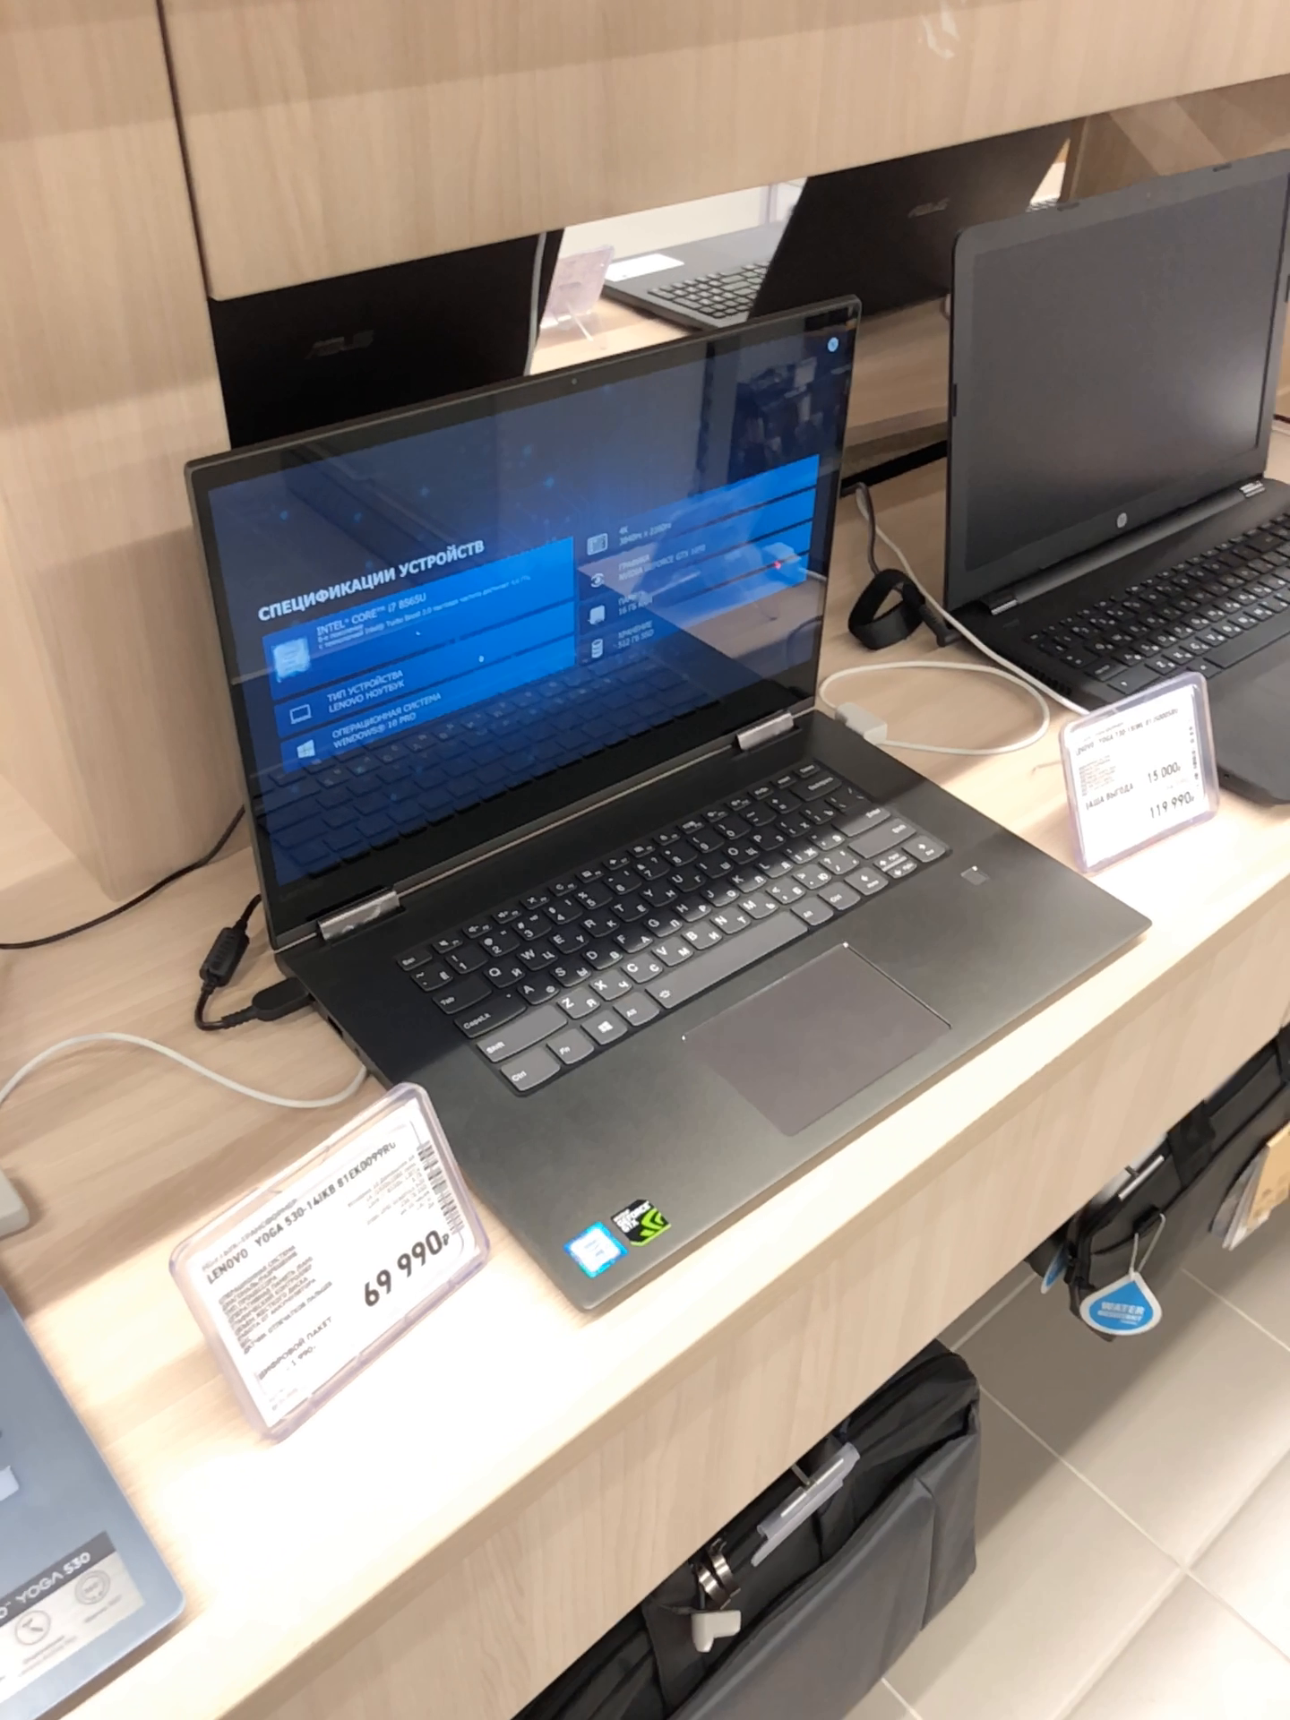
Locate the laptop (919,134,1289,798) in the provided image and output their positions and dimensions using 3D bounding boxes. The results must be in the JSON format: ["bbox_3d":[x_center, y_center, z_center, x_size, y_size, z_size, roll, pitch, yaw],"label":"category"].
[{"bbox_3d":[0.395,-0.274,0.896,0.306,0.238,0.309,-24,43,-24],"label":"laptop"}]

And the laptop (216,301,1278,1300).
[{"bbox_3d":[0.044,-0.060,0.642,0.359,0.240,0.252,-25,46,-30],"label":"laptop"}]
